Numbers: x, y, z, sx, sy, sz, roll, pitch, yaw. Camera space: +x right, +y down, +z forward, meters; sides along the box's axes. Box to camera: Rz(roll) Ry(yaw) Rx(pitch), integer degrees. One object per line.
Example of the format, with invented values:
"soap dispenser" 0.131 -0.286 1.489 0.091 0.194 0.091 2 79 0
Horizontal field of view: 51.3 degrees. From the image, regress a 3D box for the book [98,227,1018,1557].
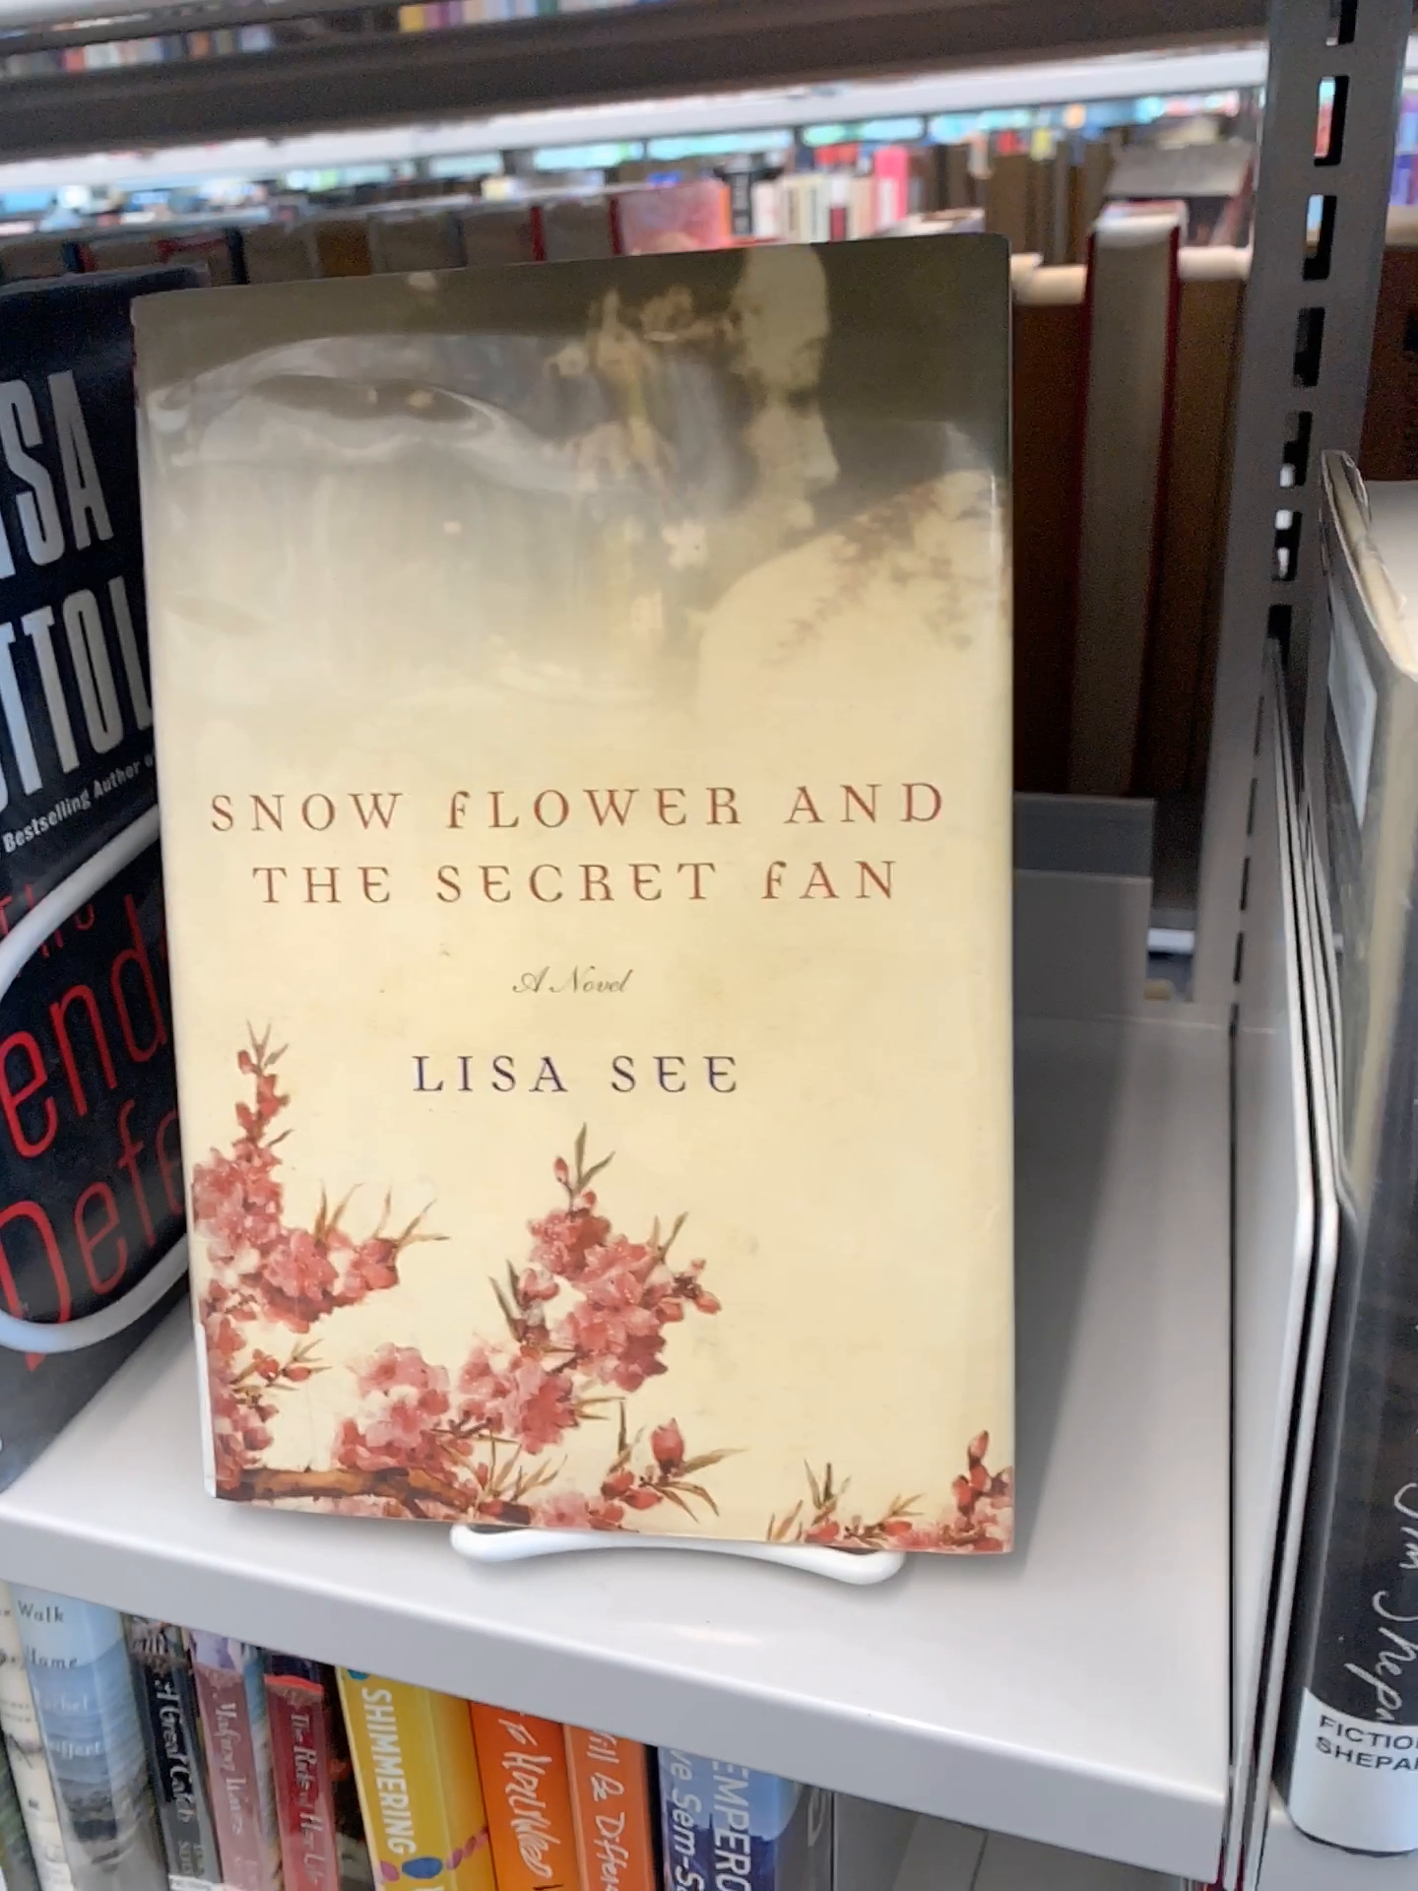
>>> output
"book" -0.024 -0.006 0.287 0.162 0.231 0.041 0 6 8
